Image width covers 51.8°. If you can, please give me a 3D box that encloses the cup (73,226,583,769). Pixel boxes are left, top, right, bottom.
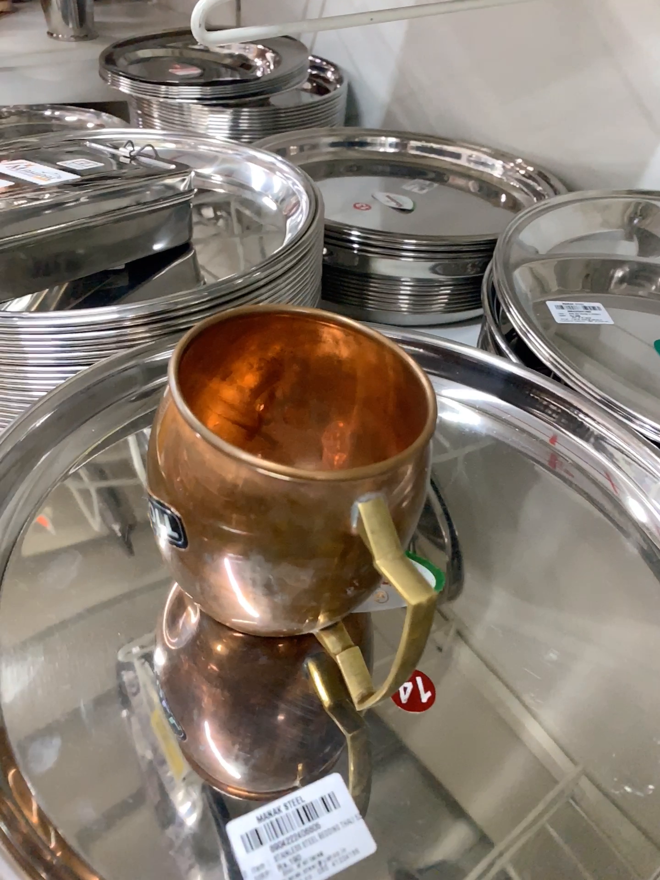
[{"bbox_3d":[-0.011,0.008,0.214,0.090,0.090,0.120,-19,49,-25],"label":"cup"}]
